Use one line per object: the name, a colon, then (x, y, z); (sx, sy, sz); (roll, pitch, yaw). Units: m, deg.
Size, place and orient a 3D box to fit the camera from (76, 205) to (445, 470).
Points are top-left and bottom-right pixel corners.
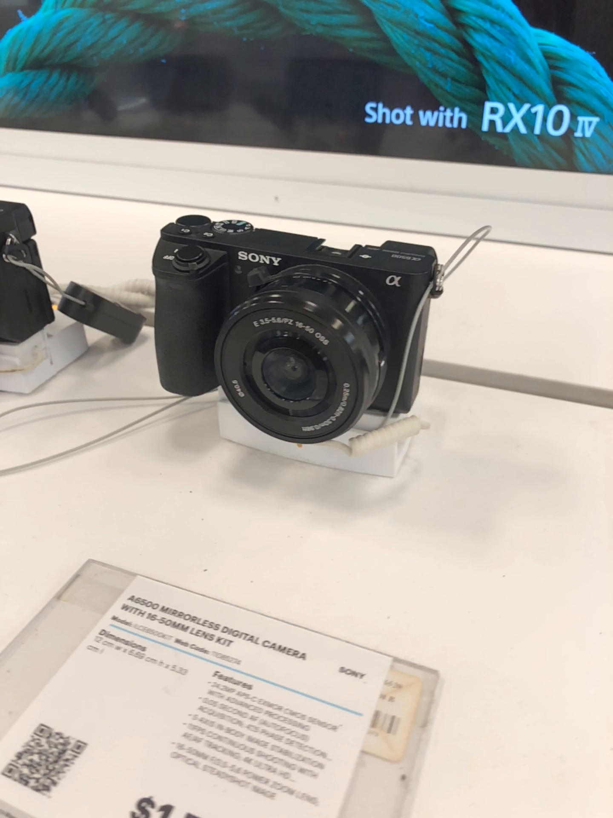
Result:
camera: (-0.016, -0.037, 0.294); (0.130, 0.070, 0.070); (12, 35, 20)
